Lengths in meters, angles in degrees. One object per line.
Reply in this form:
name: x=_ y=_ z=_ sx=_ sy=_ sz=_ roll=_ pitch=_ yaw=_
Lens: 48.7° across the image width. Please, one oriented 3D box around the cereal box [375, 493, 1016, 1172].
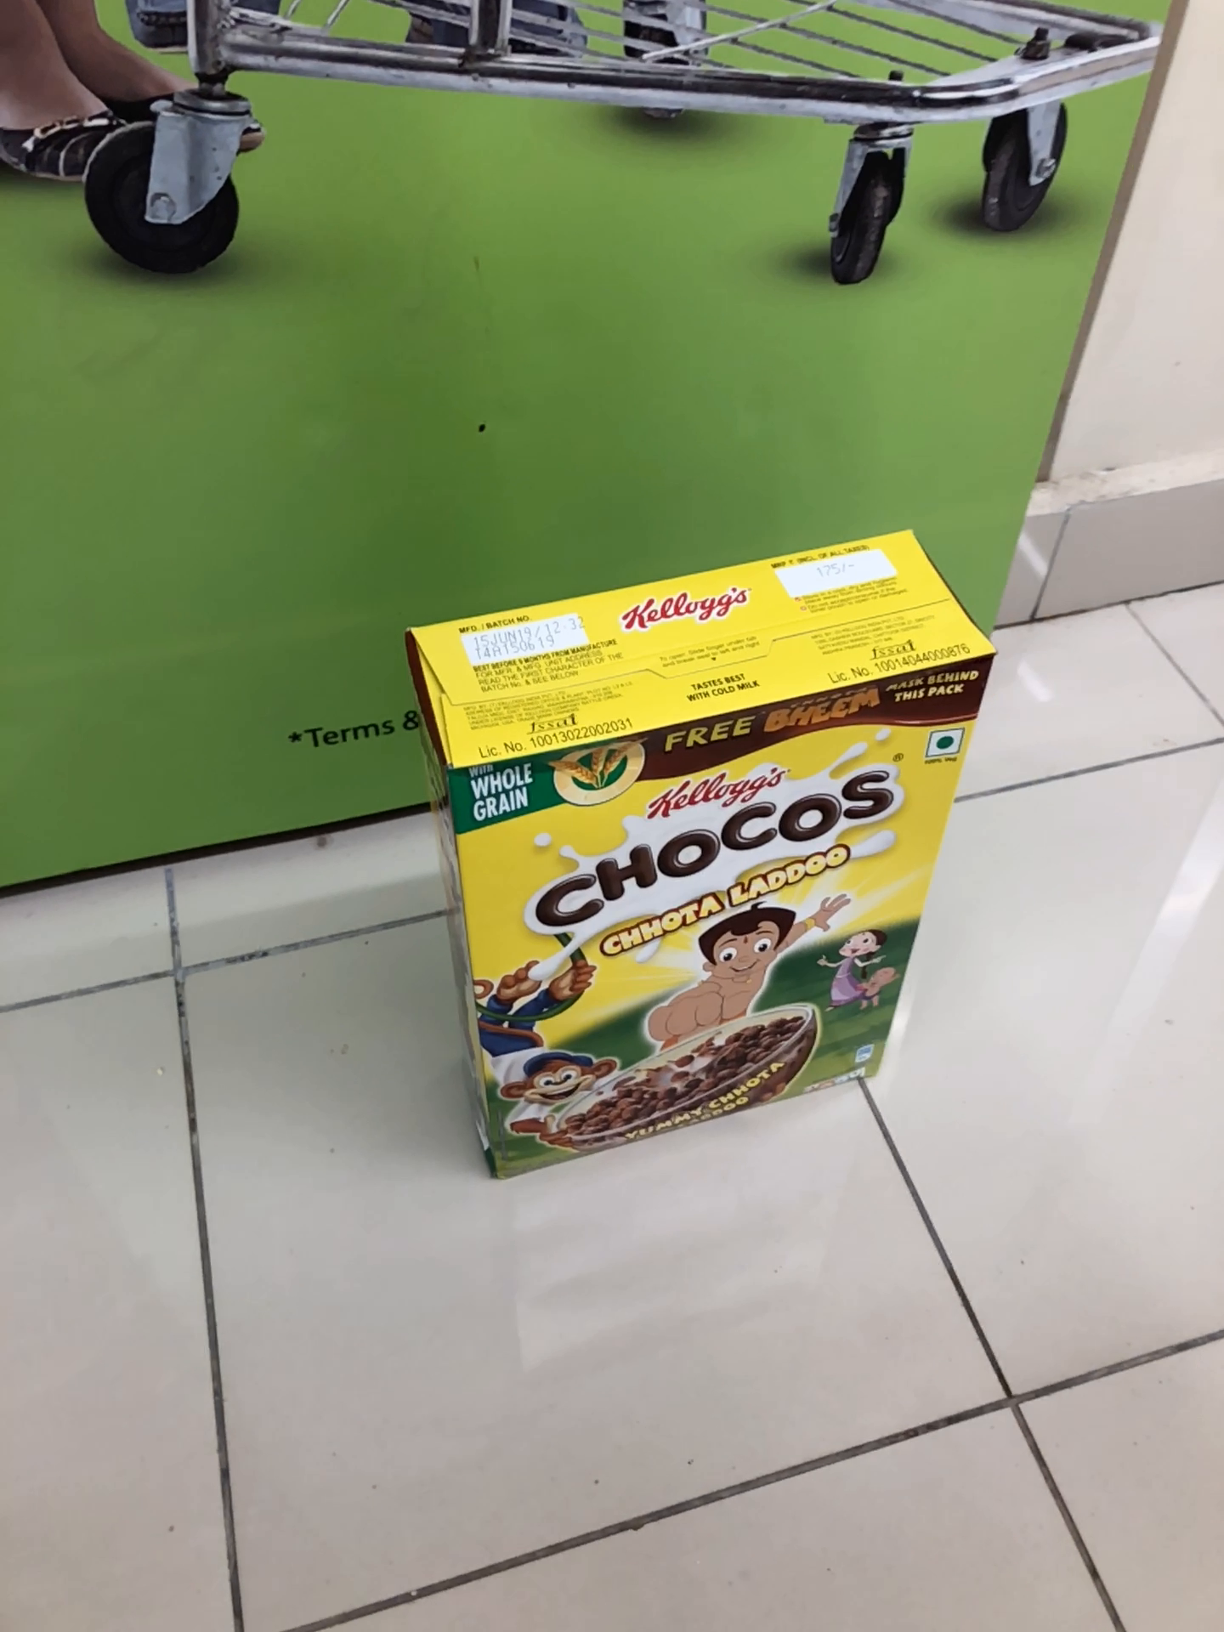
cereal box: x=0.024 y=0.020 z=0.523 sx=0.190 sy=0.258 sz=0.070 roll=-13 pitch=49 yaw=-12
